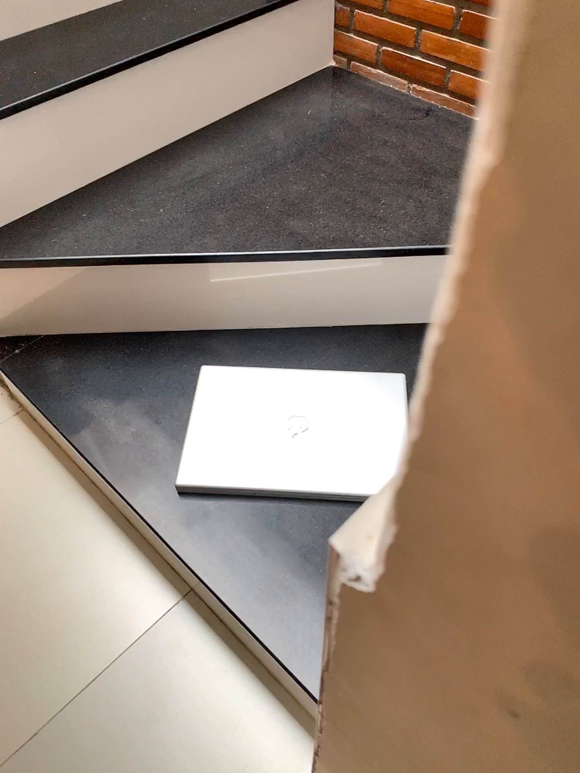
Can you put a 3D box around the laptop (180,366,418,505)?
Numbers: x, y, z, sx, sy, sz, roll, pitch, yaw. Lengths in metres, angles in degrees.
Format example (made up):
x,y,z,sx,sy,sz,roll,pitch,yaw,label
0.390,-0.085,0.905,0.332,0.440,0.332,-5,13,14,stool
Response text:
x,y,z,sx,sy,sz,roll,pitch,yaw,label
0.020,0.087,1.183,0.440,0.013,0.293,2,53,3,laptop
